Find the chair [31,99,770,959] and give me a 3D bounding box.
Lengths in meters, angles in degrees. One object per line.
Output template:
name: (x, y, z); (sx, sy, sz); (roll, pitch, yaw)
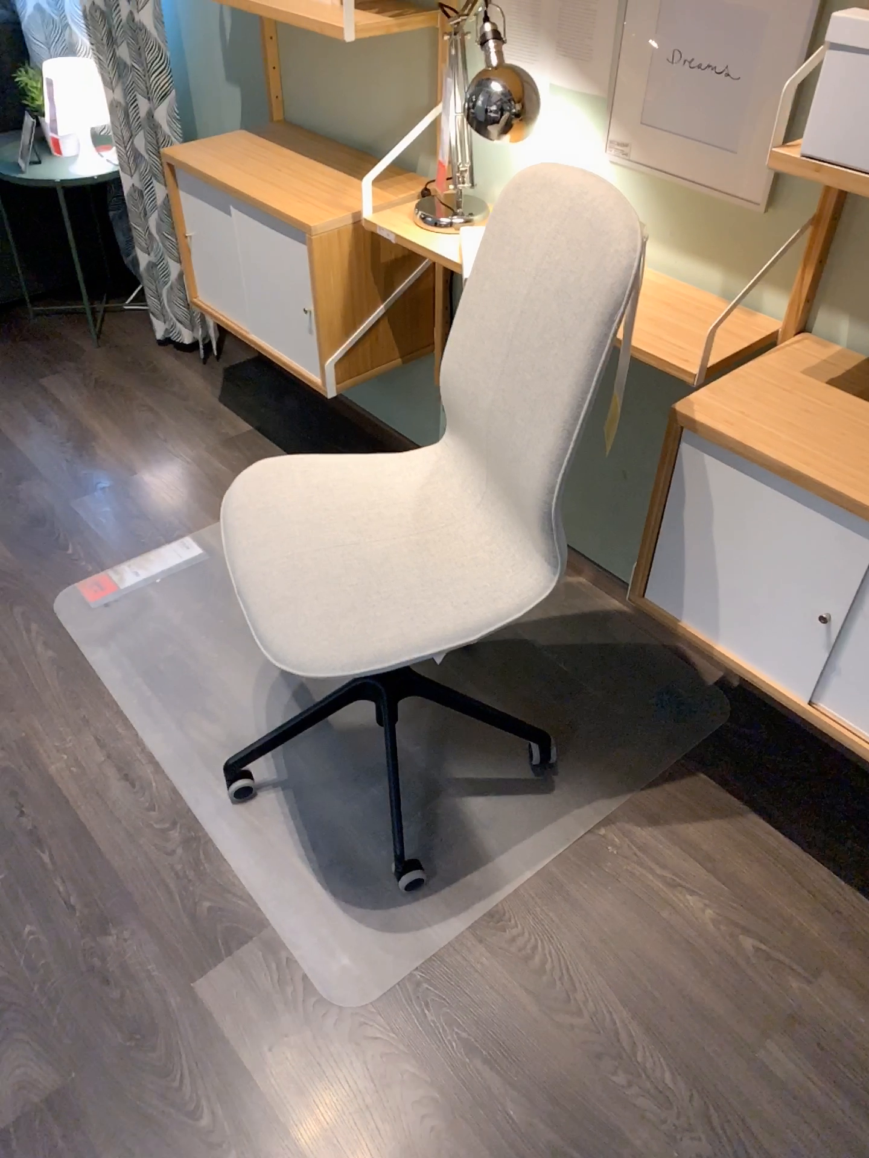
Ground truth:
chair: (-0.099, -0.074, 1.383); (0.670, 1.016, 0.672); (-16, 44, -18)
